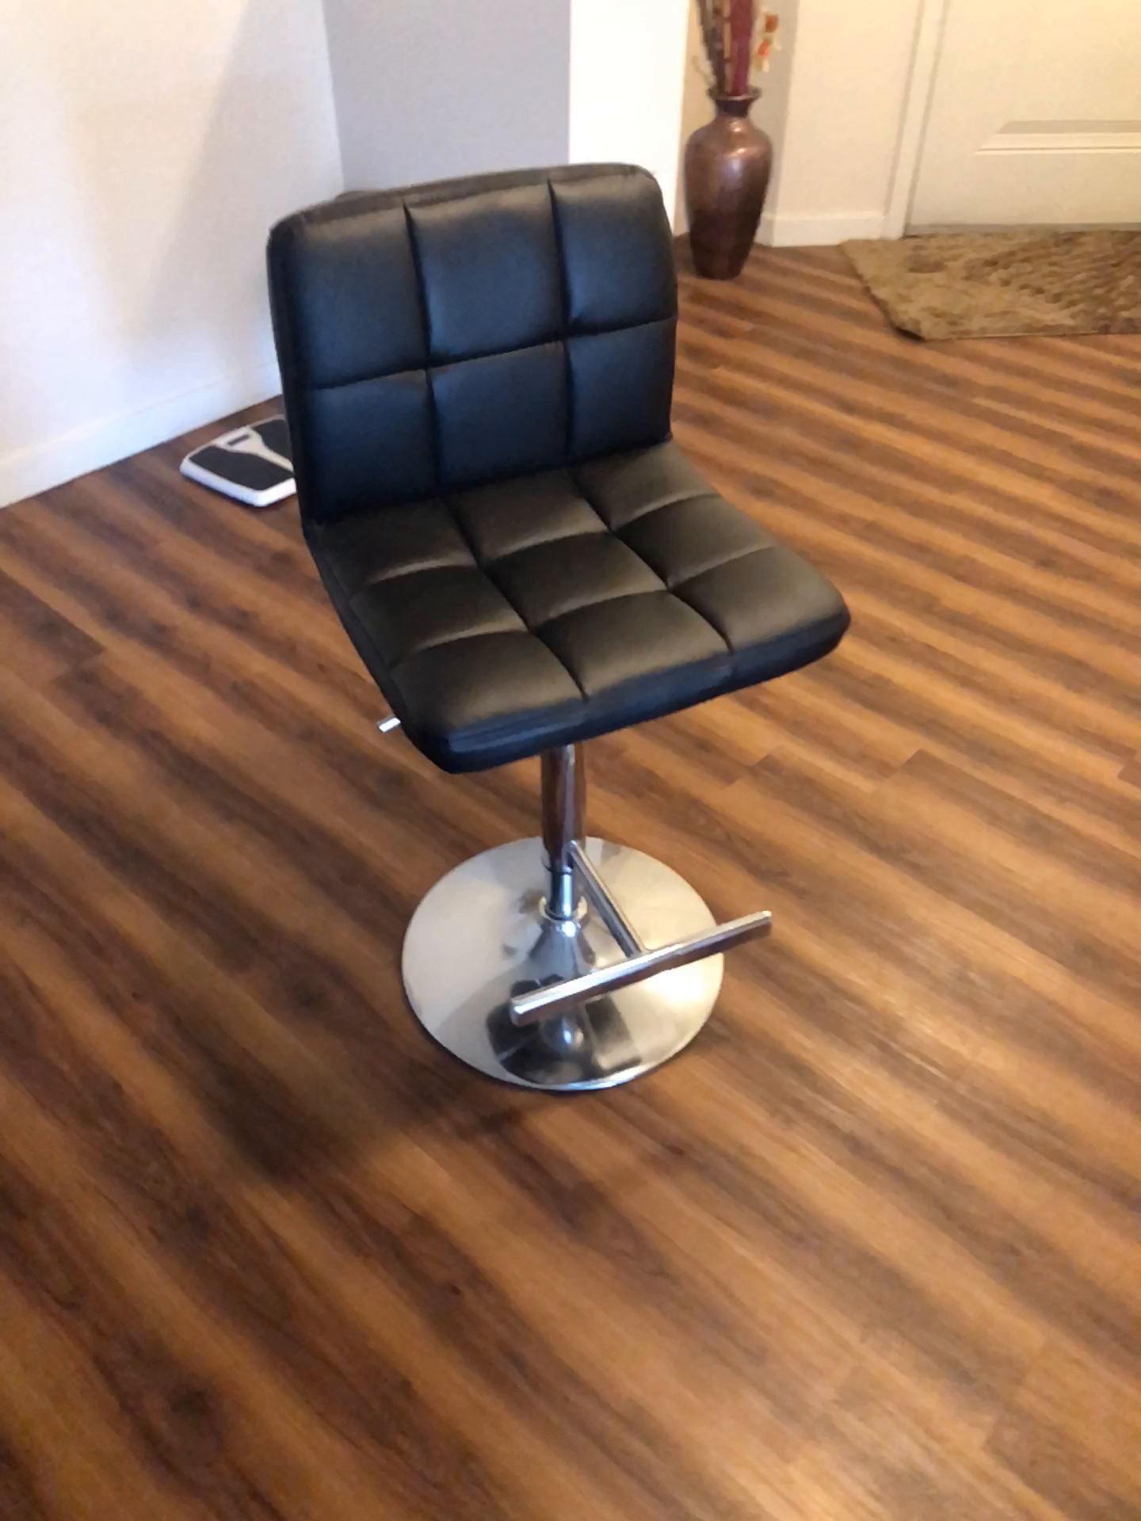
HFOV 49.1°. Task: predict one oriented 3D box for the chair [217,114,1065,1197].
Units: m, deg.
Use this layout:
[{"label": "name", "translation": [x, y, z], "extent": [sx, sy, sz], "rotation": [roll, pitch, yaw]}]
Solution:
[{"label": "chair", "translation": [0.019, -0.102, 1.396], "extent": [0.535, 0.952, 0.570], "rotation": [-17, 44, -19]}]
